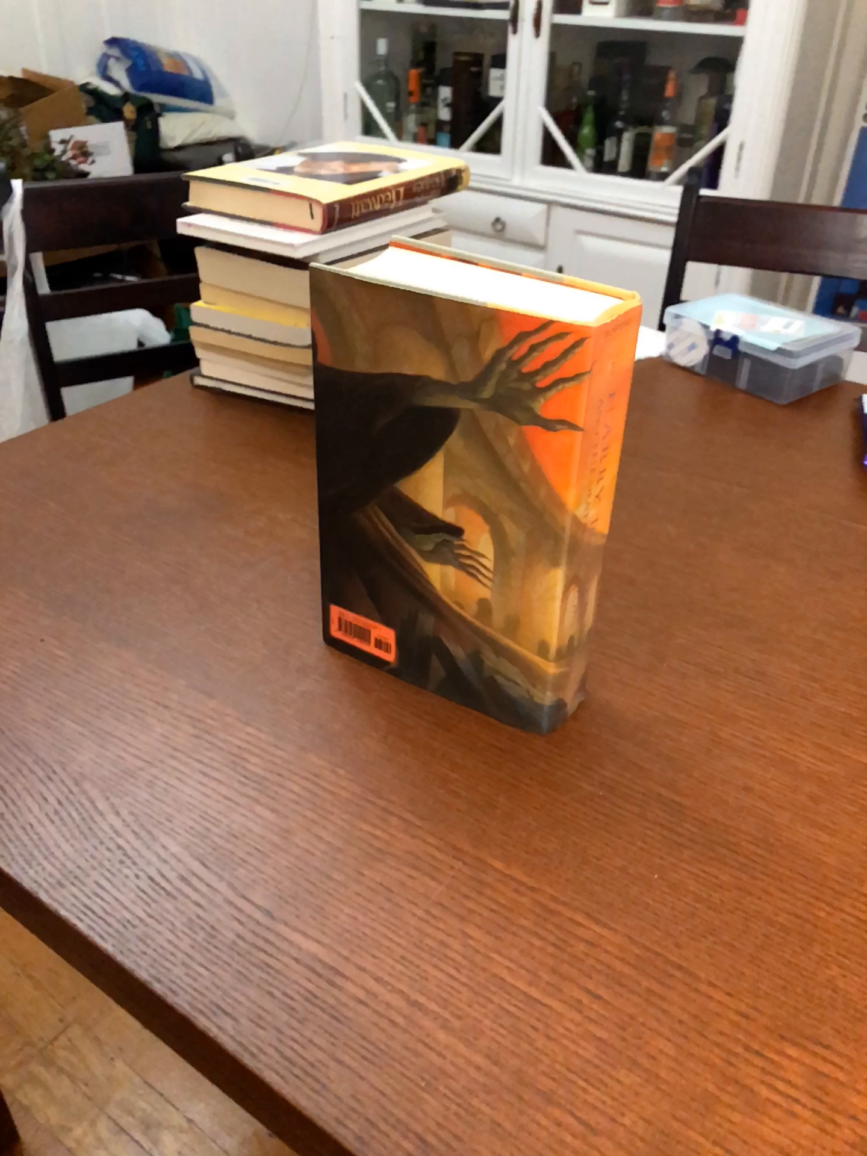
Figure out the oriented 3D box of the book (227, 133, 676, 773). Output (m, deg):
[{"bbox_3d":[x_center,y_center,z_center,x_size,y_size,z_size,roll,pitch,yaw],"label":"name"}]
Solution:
[{"bbox_3d":[-0.002,-0.068,0.529,0.210,0.298,0.070,23,37,30],"label":"book"}]
